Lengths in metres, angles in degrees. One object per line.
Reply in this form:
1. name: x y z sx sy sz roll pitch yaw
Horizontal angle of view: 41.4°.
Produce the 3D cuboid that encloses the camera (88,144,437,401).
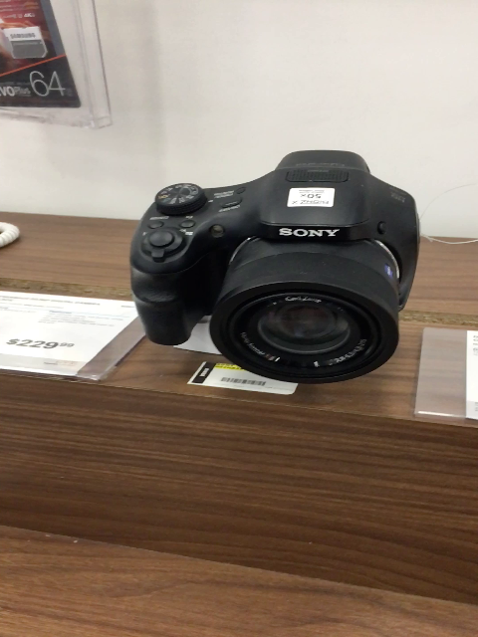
1. camera: 0.022 -0.028 0.322 0.139 0.088 0.105 5 40 11
